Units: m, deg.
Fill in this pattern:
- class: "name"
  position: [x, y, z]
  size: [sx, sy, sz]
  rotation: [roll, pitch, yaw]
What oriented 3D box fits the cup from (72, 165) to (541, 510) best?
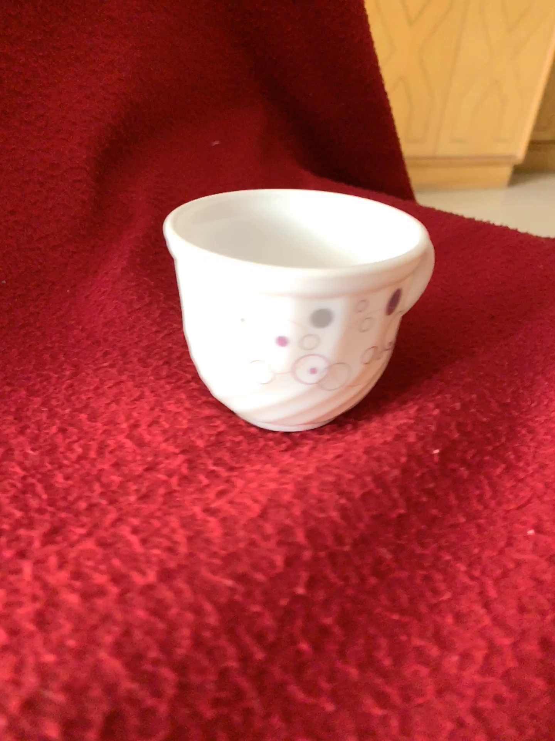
- class: "cup"
  position: [0.004, -0.021, 0.171]
  size: [0.100, 0.050, 0.080]
  rotation: [-15, 39, -27]
